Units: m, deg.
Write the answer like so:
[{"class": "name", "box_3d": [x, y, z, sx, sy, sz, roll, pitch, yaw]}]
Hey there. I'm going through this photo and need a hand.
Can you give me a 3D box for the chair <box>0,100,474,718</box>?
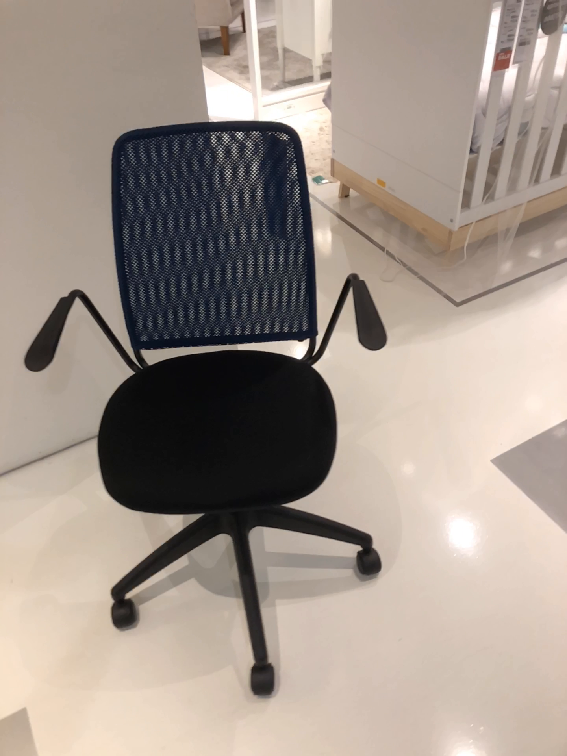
[{"class": "chair", "box_3d": [-0.127, 0.086, 1.183, 0.660, 0.923, 0.705, -2, 42, 1]}]
